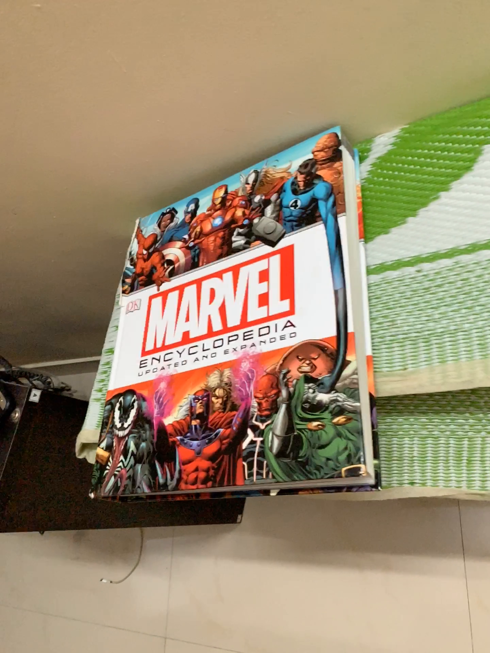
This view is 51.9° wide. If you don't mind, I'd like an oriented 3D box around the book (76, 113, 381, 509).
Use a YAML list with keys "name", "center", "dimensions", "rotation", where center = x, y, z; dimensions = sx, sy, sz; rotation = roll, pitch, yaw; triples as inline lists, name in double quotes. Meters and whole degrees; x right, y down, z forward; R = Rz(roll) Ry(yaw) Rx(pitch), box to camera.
- name: "book"
  center: [-0.022, -0.009, 0.457]
  dimensions: [0.261, 0.040, 0.321]
  rotation: [-15, 59, 32]
